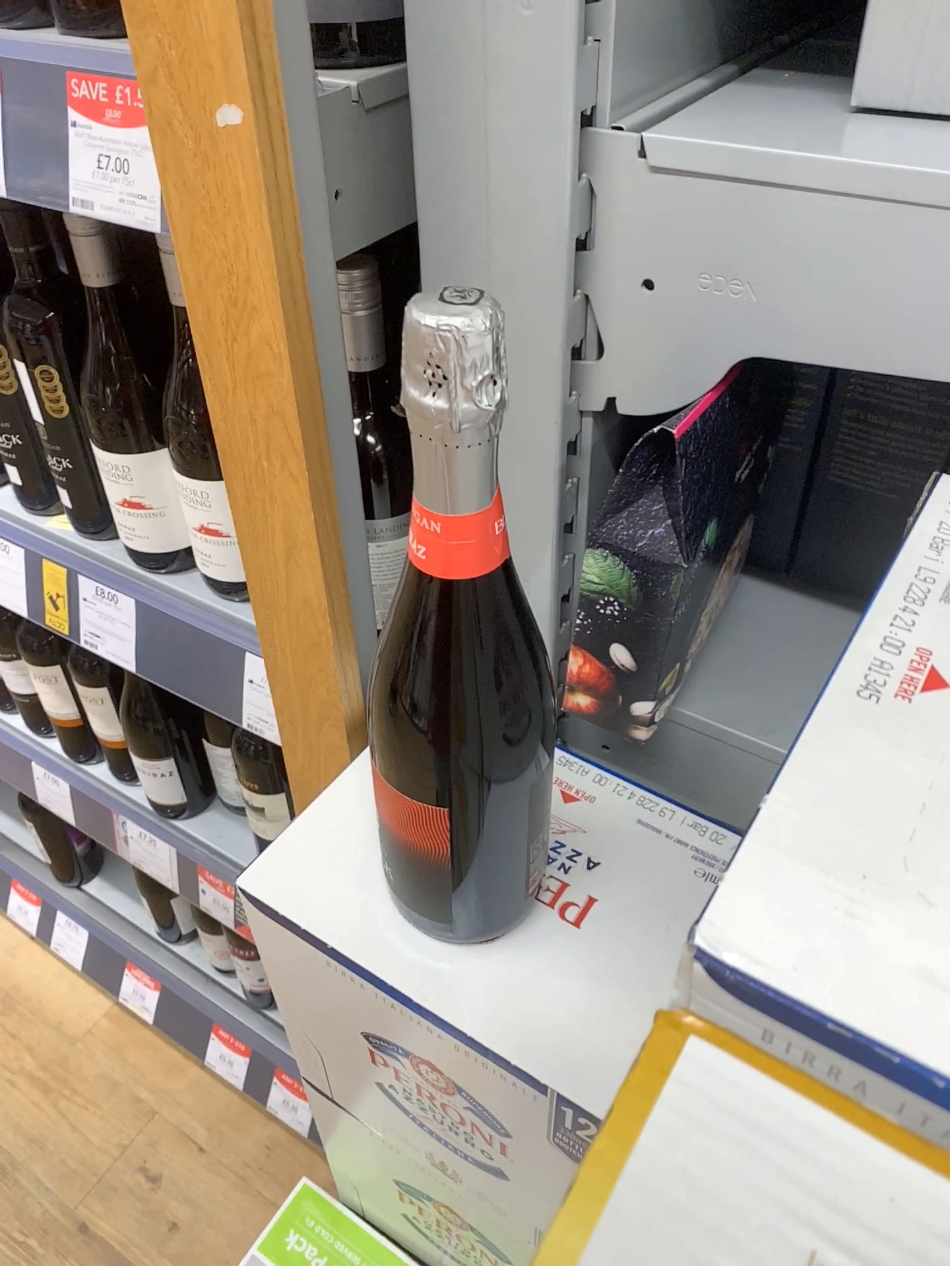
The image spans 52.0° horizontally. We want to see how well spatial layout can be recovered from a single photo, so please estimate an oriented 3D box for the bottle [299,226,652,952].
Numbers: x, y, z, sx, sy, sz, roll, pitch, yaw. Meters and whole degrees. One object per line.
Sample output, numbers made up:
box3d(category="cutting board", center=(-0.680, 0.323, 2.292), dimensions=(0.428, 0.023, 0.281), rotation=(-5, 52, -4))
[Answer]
box3d(category="bottle", center=(-0.001, 0.002, 0.395), dimensions=(0.094, 0.289, 0.091), rotation=(-1, 41, 1))
